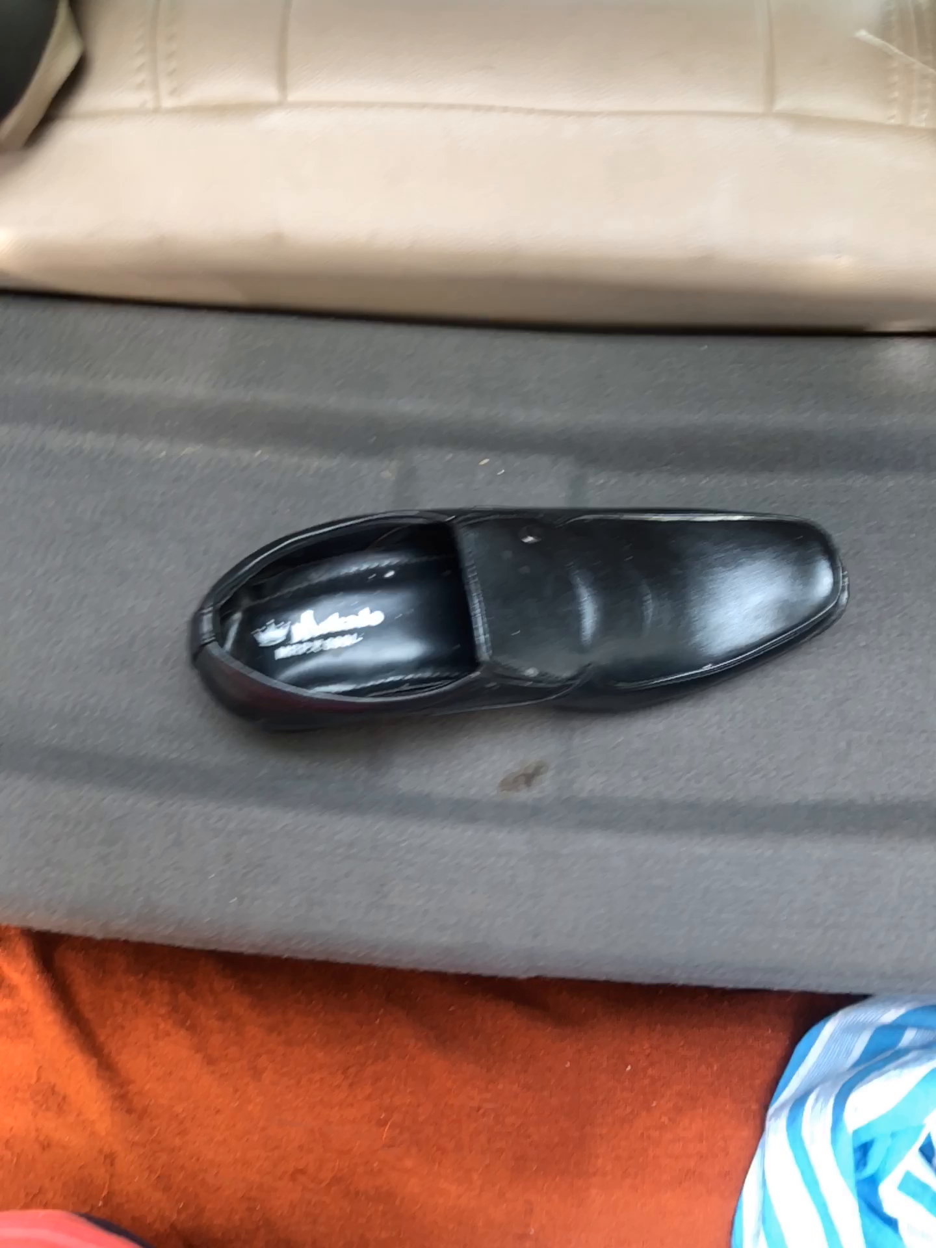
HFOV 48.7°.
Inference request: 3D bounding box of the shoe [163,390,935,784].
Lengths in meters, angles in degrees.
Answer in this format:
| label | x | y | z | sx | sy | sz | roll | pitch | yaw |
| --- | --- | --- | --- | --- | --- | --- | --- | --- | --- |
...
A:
| label | x | y | z | sx | sy | sz | roll | pitch | yaw |
| --- | --- | --- | --- | --- | --- | --- | --- | --- | --- |
| shoe | 0.033 | -0.013 | 0.446 | 0.300 | 0.080 | 0.100 | -9 | 70 | -1 |
